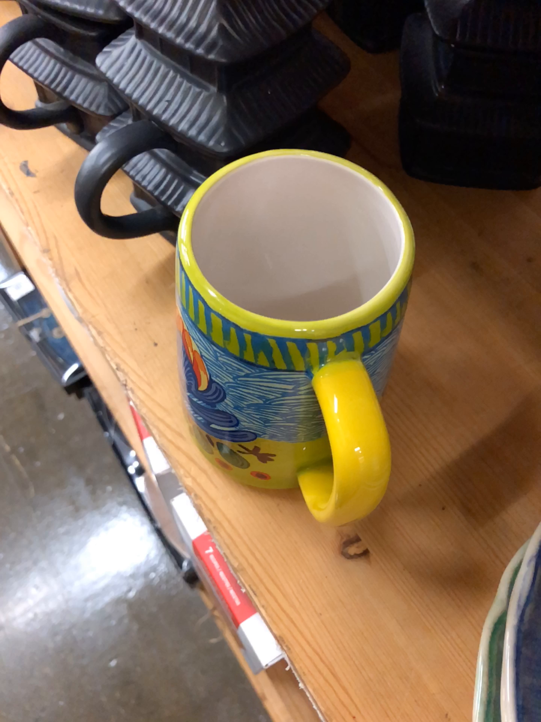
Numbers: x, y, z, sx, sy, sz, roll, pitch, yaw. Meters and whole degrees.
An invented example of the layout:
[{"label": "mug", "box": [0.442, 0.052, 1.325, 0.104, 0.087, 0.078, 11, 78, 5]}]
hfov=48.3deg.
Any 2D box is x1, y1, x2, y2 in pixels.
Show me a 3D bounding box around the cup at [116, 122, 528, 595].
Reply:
[{"label": "cup", "box": [0.006, 0.008, 0.223, 0.086, 0.125, 0.113, -12, 62, -8]}]
